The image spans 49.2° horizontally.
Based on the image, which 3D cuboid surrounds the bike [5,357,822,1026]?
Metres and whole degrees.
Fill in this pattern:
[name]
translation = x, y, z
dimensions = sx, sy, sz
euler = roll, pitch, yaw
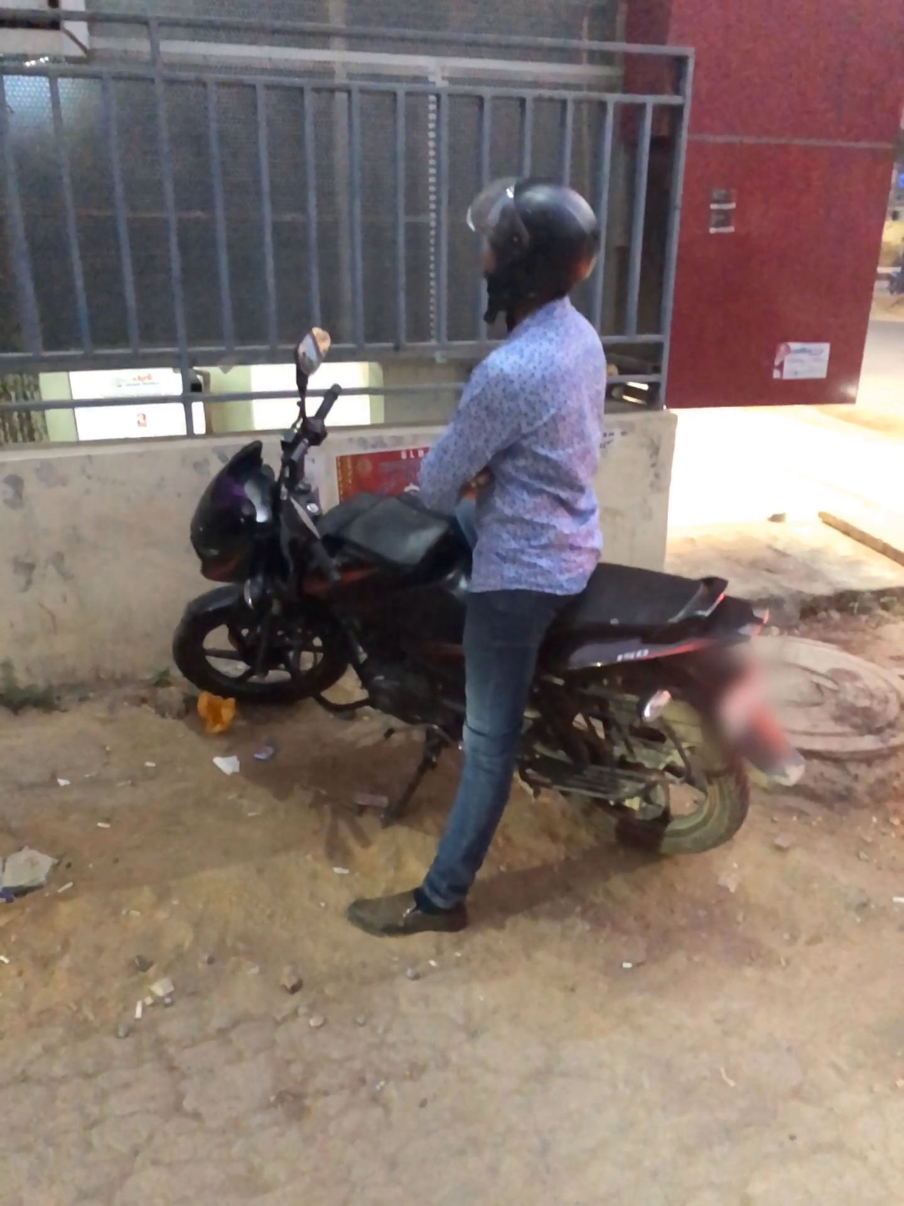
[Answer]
[bike]
translation = -0.131, 0.066, 2.580
dimensions = 1.801, 1.144, 0.749
euler = 12, 23, 26
